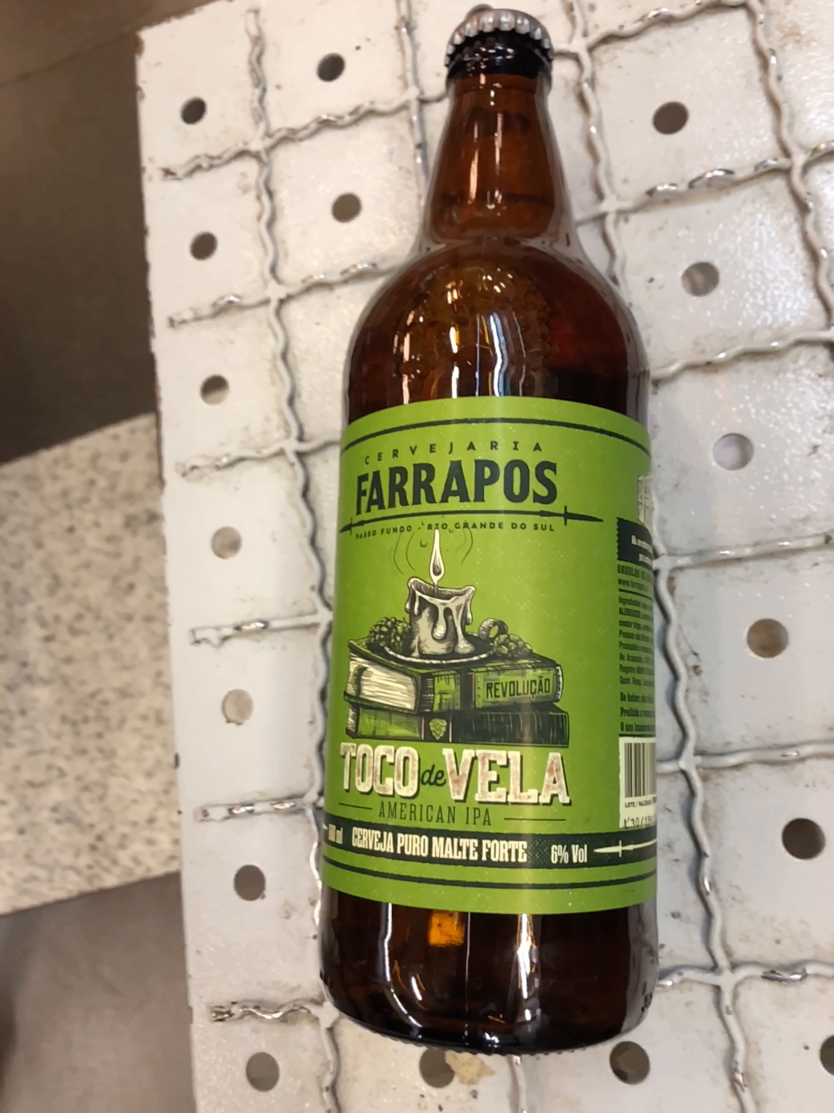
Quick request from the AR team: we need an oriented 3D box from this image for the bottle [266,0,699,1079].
[{"bbox_3d":[0.021,-0.033,0.224,0.080,0.070,0.260,-1,81,13],"label":"bottle"}]
